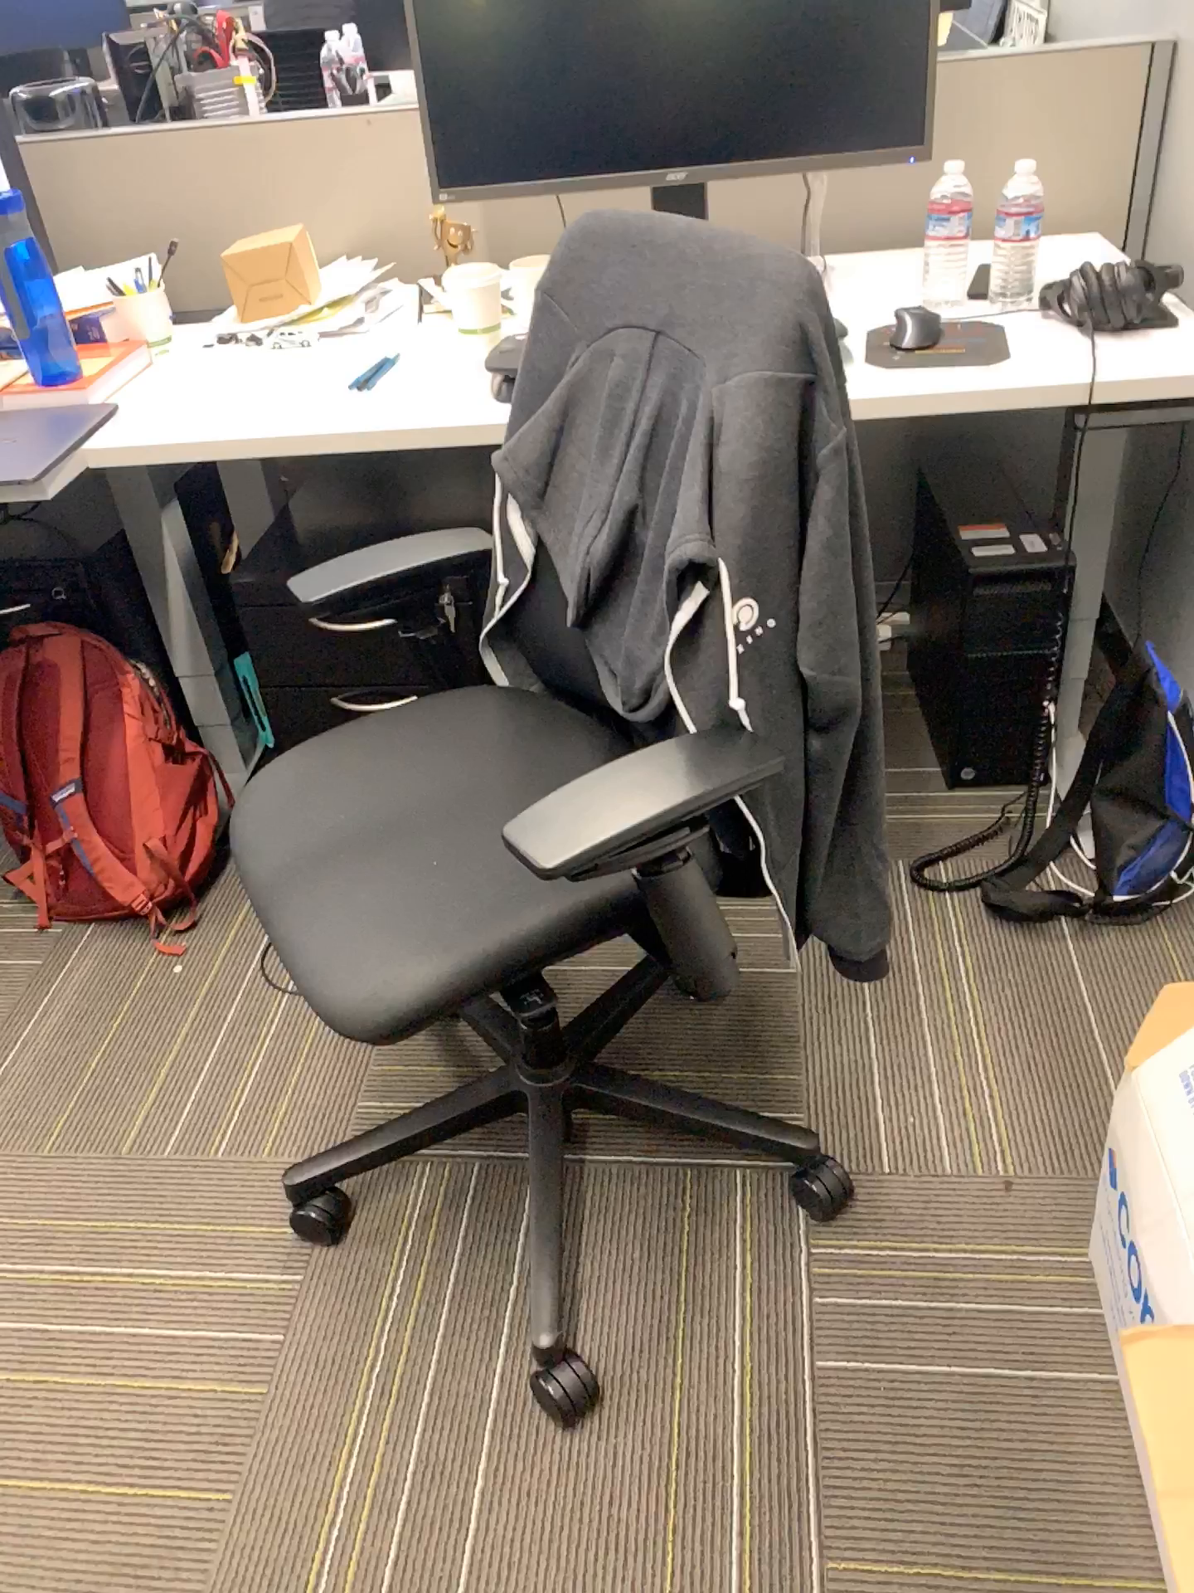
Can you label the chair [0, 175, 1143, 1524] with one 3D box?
[{"bbox_3d":[-0.055,-0.008,1.297,0.800,0.994,0.684,-26,40,-25],"label":"chair"}]
